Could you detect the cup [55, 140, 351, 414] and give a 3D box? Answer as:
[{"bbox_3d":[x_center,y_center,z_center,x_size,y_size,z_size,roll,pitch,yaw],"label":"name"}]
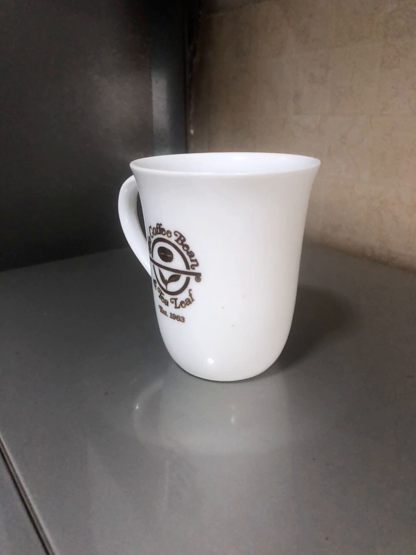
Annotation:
[{"bbox_3d":[-0.005,-0.017,0.263,0.130,0.109,0.090,16,25,40],"label":"cup"}]
